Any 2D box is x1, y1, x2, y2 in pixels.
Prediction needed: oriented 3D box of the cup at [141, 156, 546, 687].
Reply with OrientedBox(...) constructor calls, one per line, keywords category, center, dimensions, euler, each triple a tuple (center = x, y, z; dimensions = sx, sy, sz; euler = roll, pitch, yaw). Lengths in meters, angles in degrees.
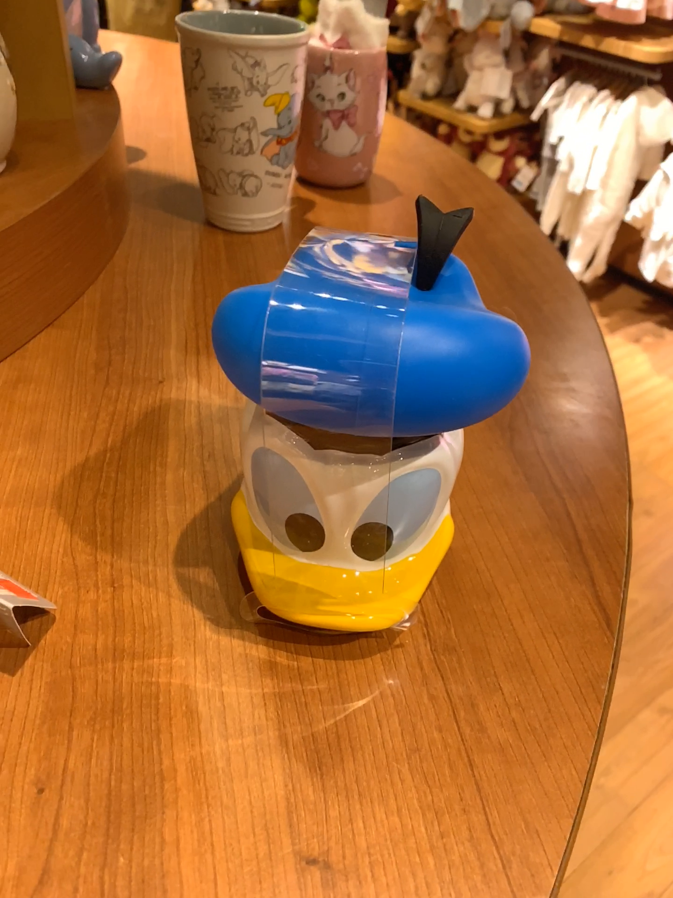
OrientedBox(category="cup", center=(0.006, -0.015, 0.278), dimensions=(0.105, 0.132, 0.151), euler=(9, 44, 3))
